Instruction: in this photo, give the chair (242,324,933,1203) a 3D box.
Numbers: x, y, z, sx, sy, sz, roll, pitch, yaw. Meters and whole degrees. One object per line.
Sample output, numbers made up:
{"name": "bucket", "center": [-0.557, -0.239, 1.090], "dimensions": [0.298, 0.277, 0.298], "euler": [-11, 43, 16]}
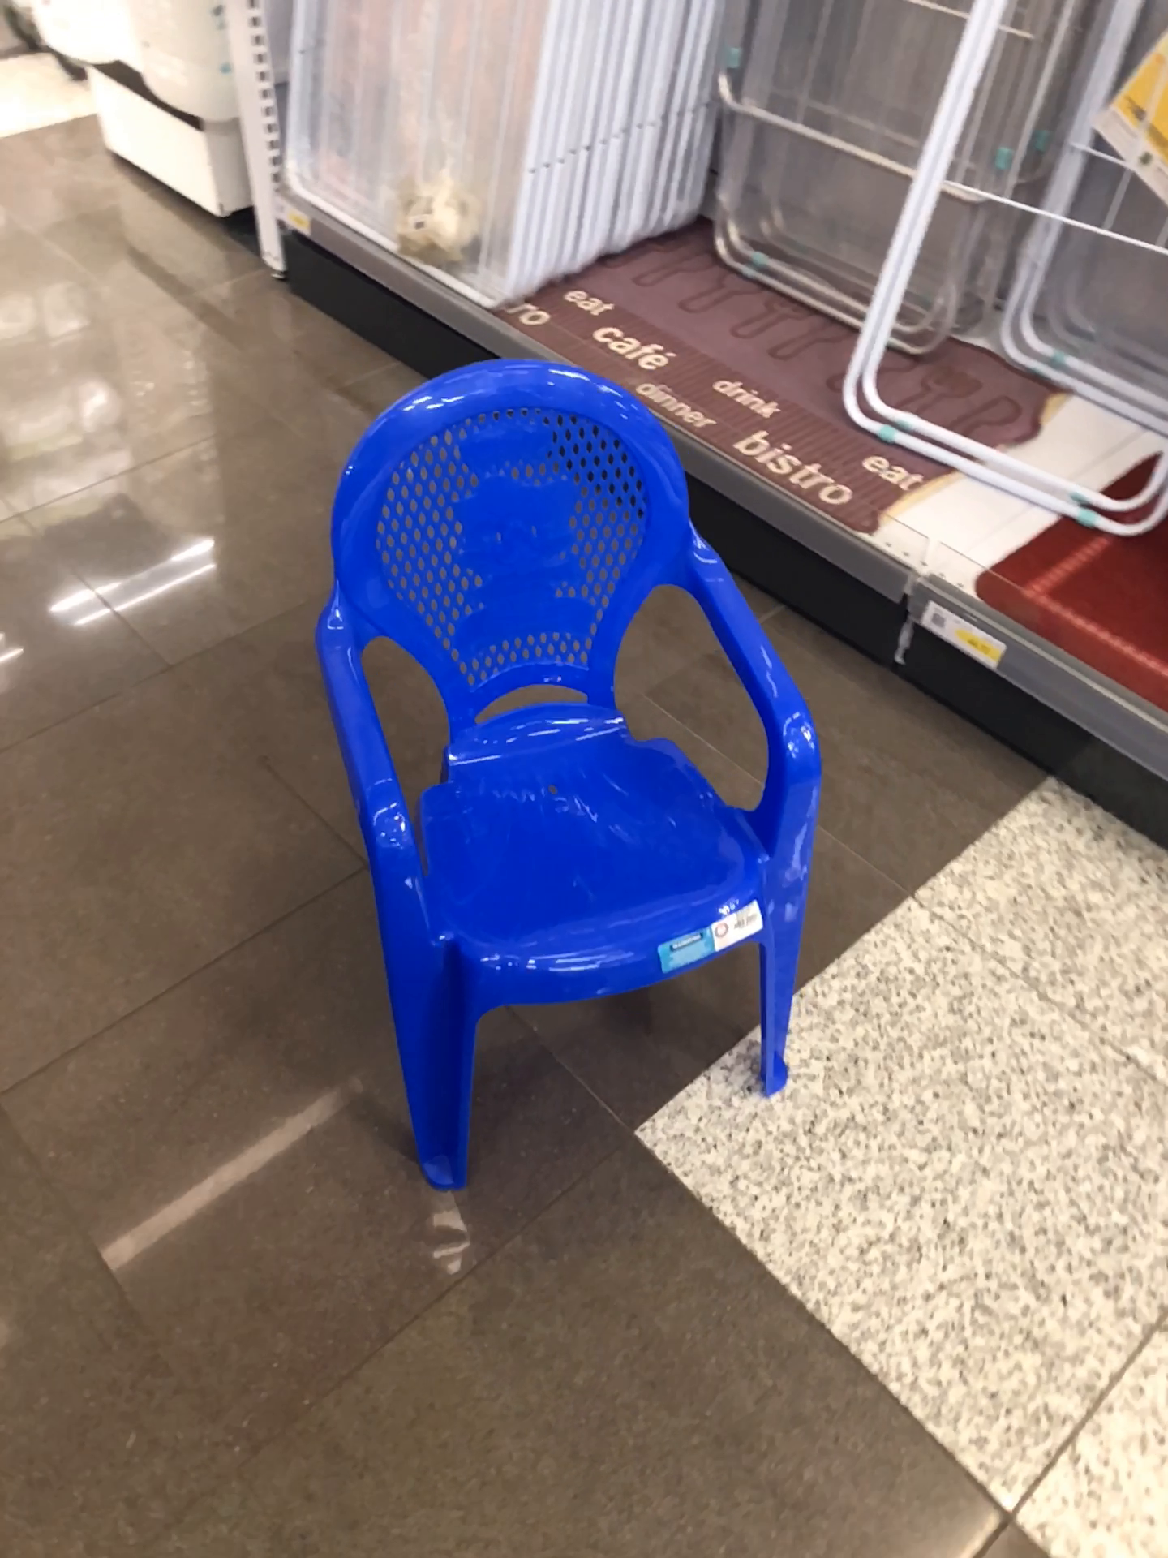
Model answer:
{"name": "chair", "center": [-0.029, -0.007, 1.017], "dimensions": [0.350, 0.506, 0.403], "euler": [-11, 48, -12]}
